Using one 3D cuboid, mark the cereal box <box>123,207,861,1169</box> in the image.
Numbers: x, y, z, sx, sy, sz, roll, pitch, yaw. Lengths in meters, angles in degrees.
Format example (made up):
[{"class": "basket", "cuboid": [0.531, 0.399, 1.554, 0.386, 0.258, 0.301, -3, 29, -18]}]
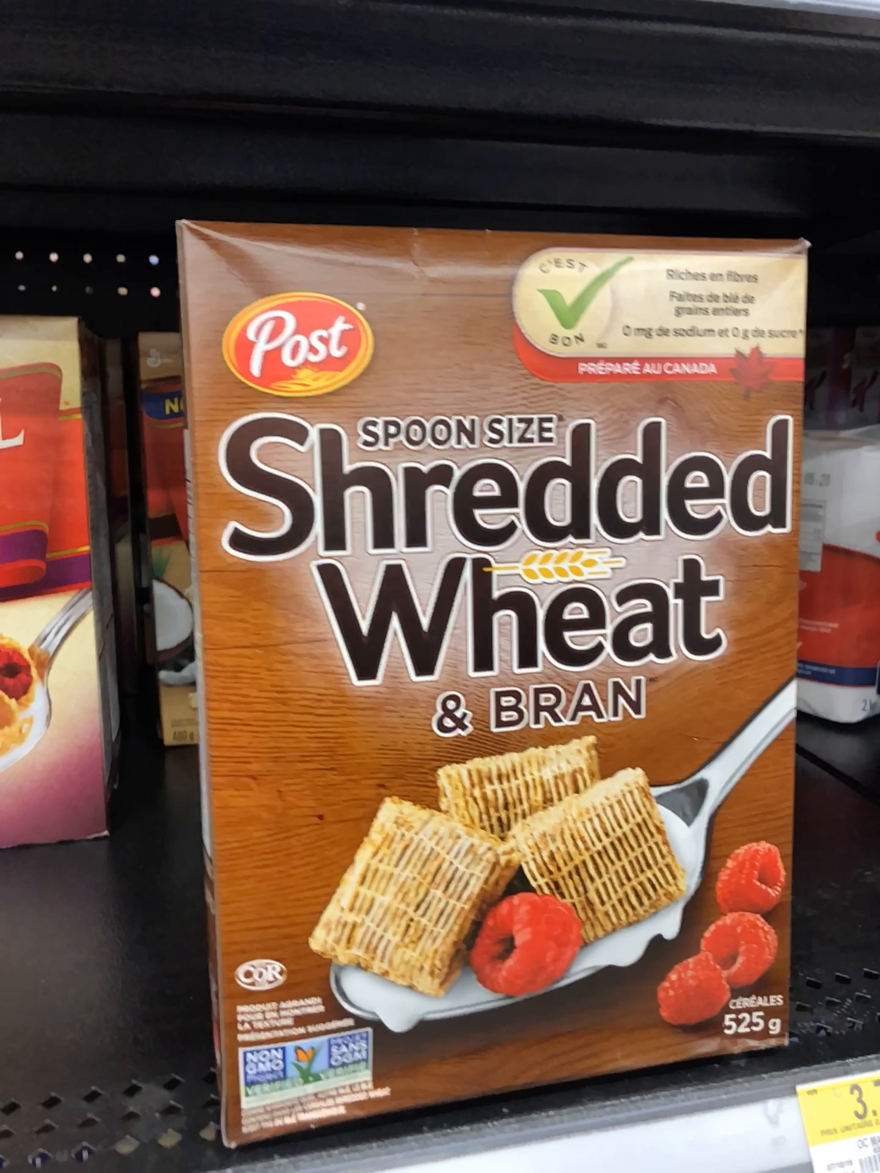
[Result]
[{"class": "cereal box", "cuboid": [0.018, 0.026, 0.312, 0.210, 0.259, 0.060, -3, 8, -15]}]
